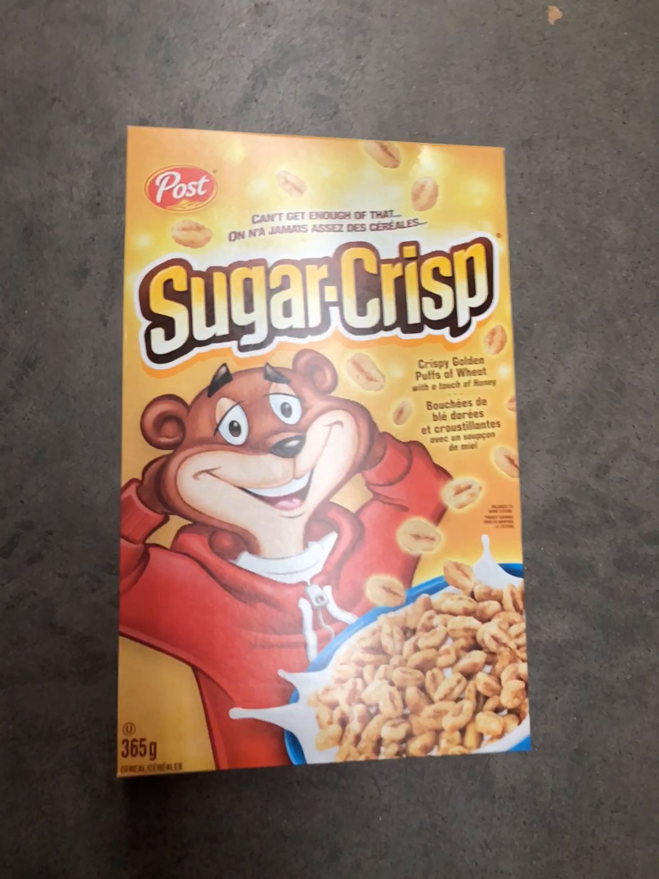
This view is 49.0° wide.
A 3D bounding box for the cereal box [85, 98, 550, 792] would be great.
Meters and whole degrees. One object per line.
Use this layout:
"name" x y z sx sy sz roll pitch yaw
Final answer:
"cereal box" -0.006 -0.002 0.354 0.200 0.060 0.300 0 84 -7
